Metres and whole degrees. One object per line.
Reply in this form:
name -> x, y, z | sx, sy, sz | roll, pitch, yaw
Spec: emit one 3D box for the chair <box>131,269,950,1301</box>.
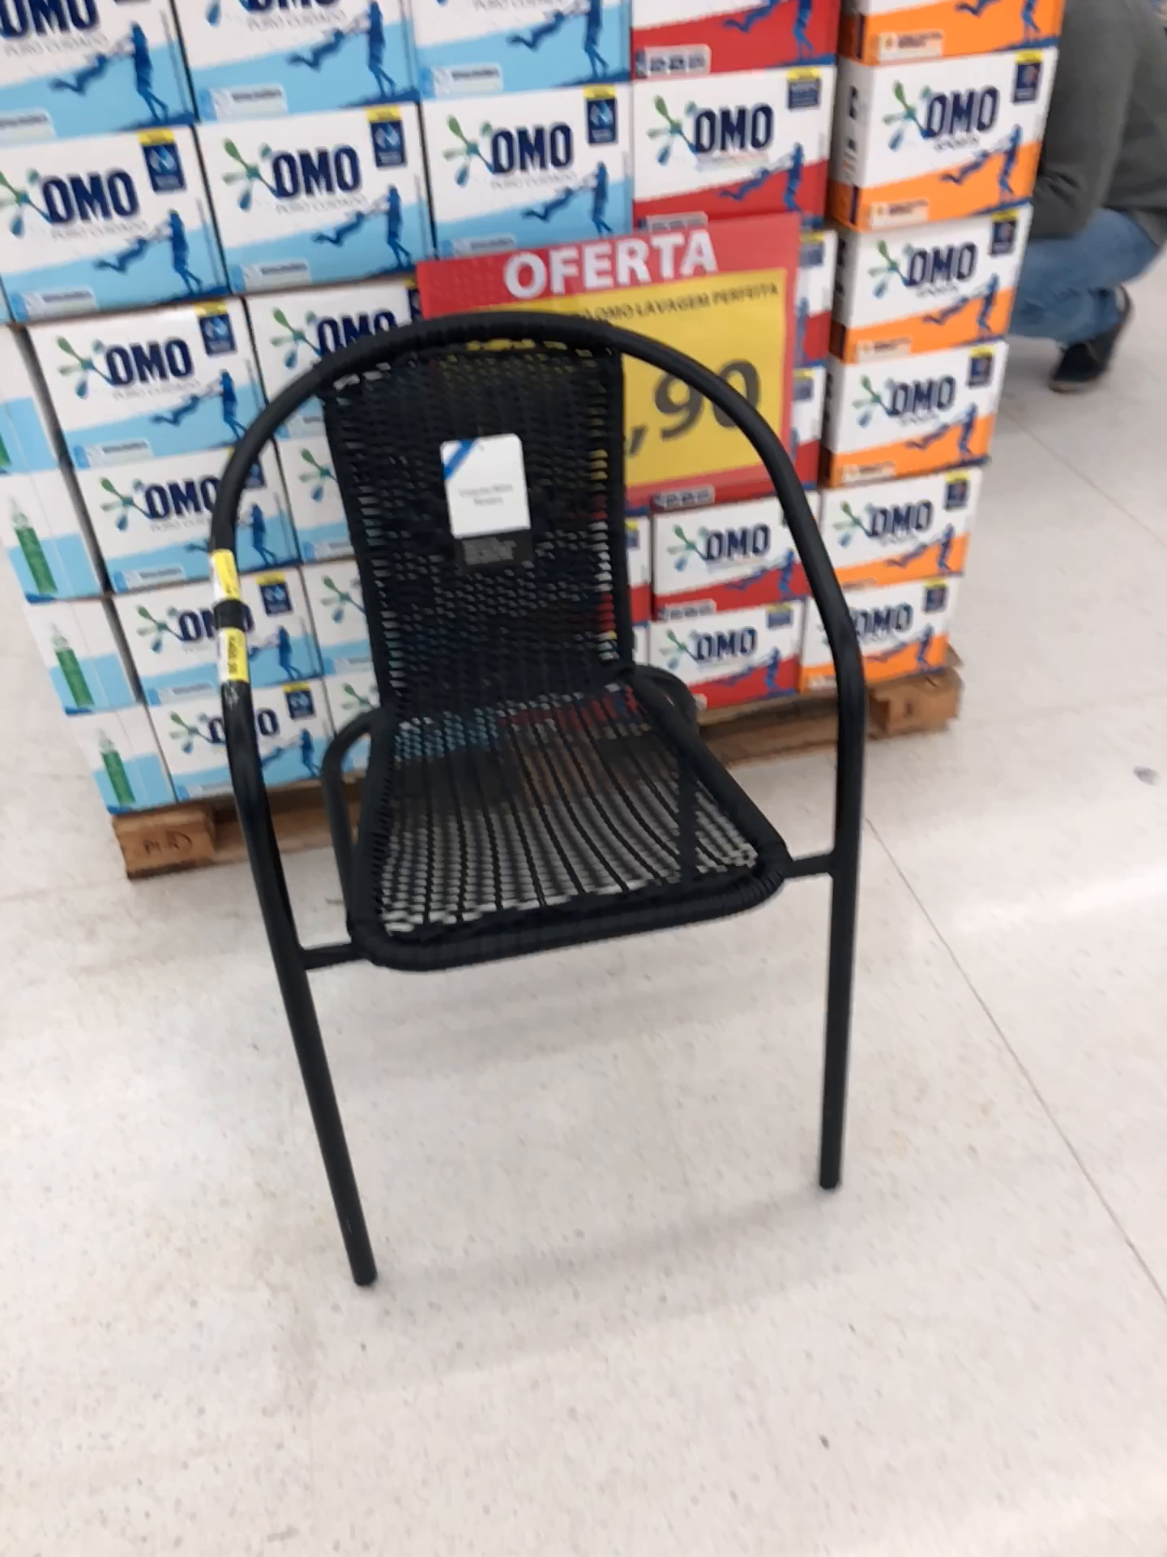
chair -> -0.052, 0.004, 1.186 | 0.500, 0.725, 0.504 | -10, 39, -8
